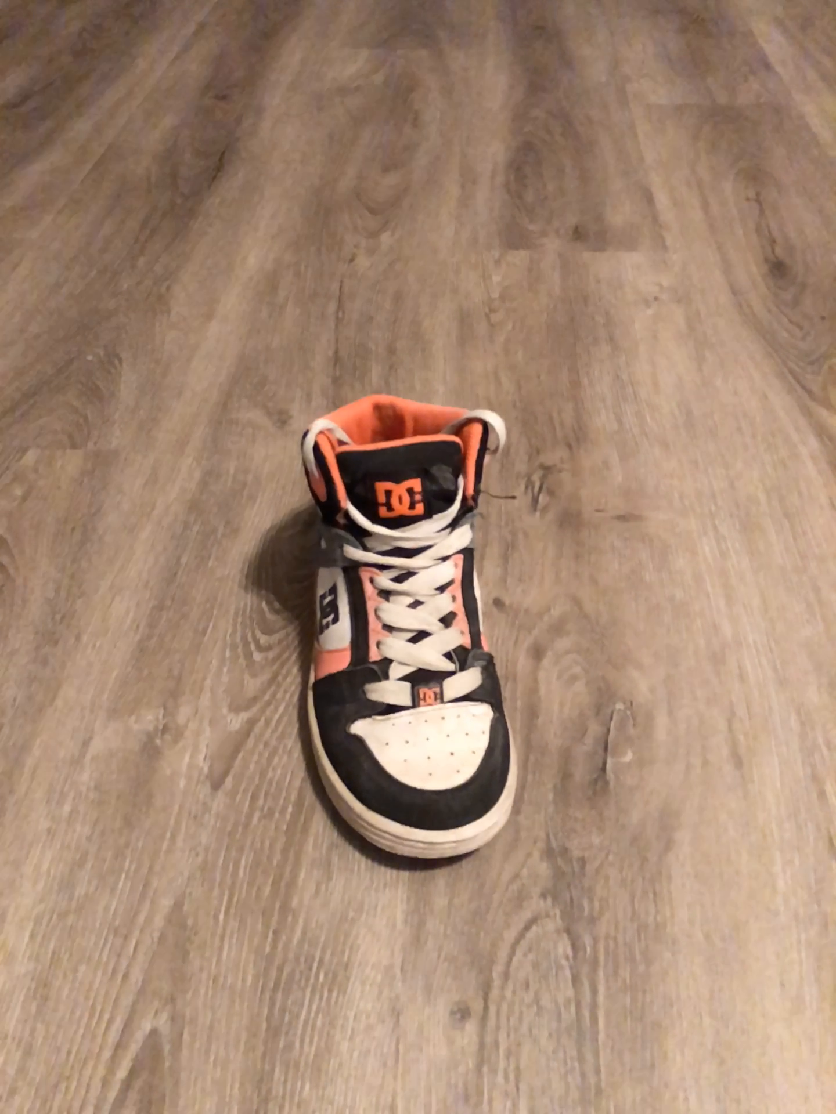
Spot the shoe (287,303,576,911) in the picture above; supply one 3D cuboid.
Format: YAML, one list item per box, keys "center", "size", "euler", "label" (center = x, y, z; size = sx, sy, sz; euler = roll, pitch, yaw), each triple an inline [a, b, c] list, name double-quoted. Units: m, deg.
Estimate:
- center: [-0.007, 0.010, 0.422]
  size: [0.090, 0.139, 0.241]
  euler: [-4, 45, -4]
  label: "shoe"
